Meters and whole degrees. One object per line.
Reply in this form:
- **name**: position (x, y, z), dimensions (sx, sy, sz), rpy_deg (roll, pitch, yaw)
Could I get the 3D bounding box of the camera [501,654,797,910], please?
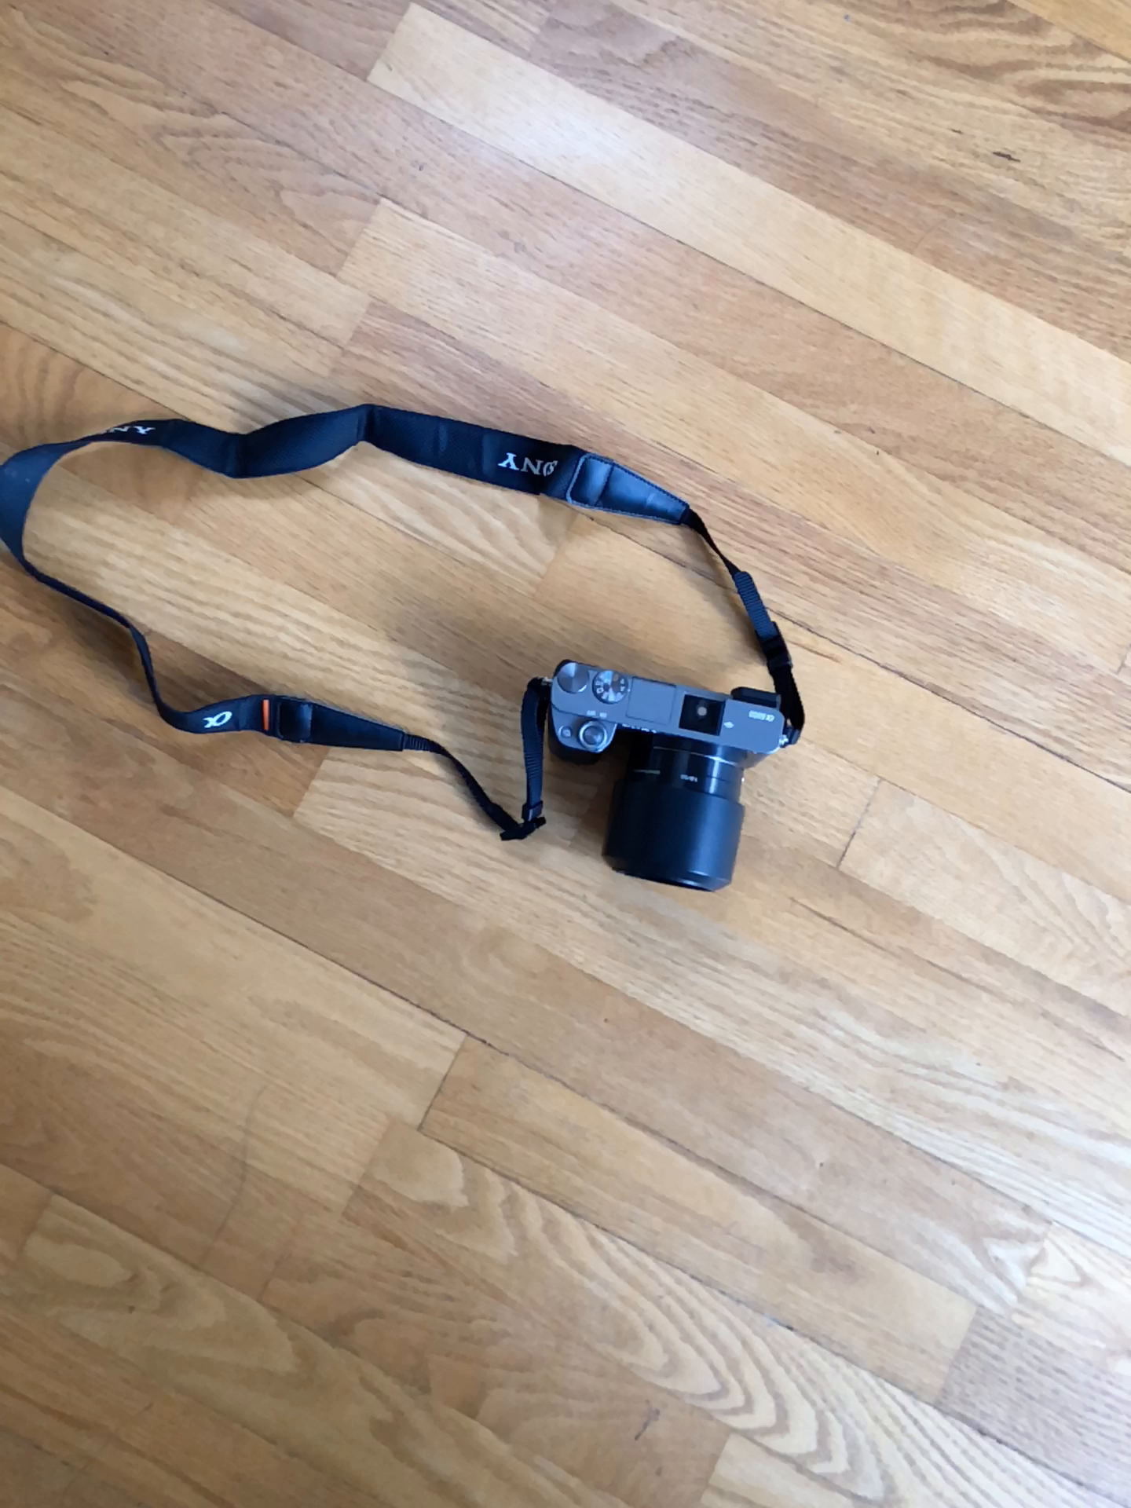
- **camera**: position (0.043, 0.018, 0.673), dimensions (0.136, 0.079, 0.106), rpy_deg (10, 80, 0)
